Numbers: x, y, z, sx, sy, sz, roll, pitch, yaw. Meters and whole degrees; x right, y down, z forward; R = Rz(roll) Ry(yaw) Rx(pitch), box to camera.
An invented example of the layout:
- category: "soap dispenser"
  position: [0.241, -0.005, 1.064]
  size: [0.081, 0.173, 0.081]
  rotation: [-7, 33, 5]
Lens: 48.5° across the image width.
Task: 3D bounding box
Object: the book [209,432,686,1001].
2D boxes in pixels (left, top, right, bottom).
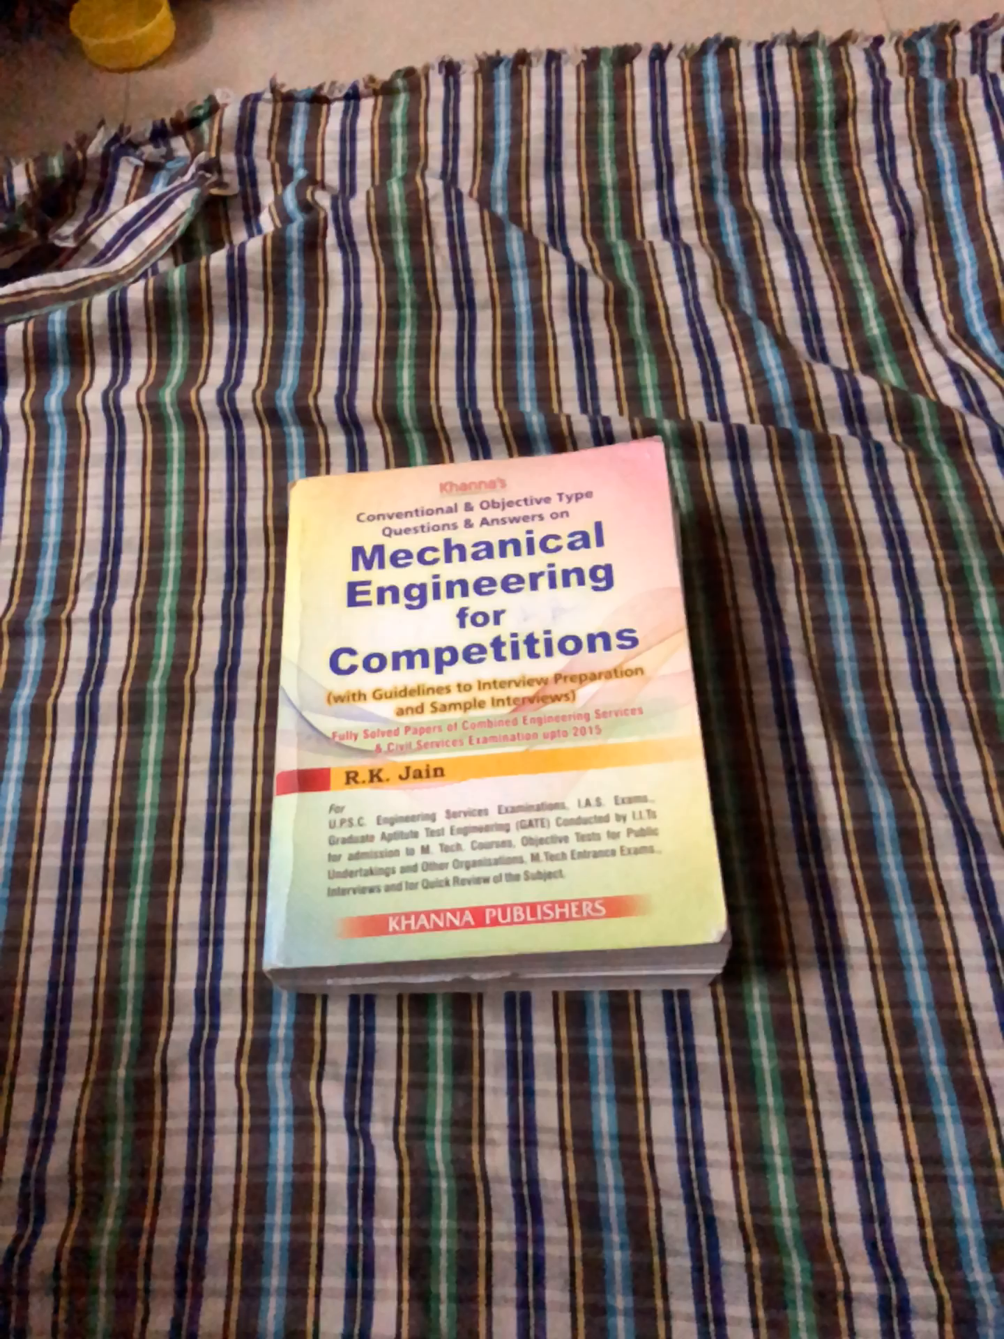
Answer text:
- category: "book"
  position: [-0.024, 0.020, 0.585]
  size: [0.210, 0.078, 0.280]
  rotation: [-3, 63, 4]
